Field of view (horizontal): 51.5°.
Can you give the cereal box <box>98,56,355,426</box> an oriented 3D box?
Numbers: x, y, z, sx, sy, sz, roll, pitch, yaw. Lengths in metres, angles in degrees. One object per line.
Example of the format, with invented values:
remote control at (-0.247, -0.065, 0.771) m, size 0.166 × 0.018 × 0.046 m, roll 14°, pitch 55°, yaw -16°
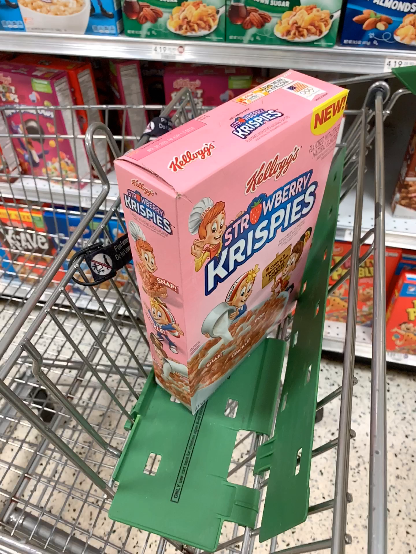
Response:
cereal box at (0.022, -0.018, 0.411) m, size 0.060 × 0.297 × 0.211 m, roll 33°, pitch 54°, yaw 26°
